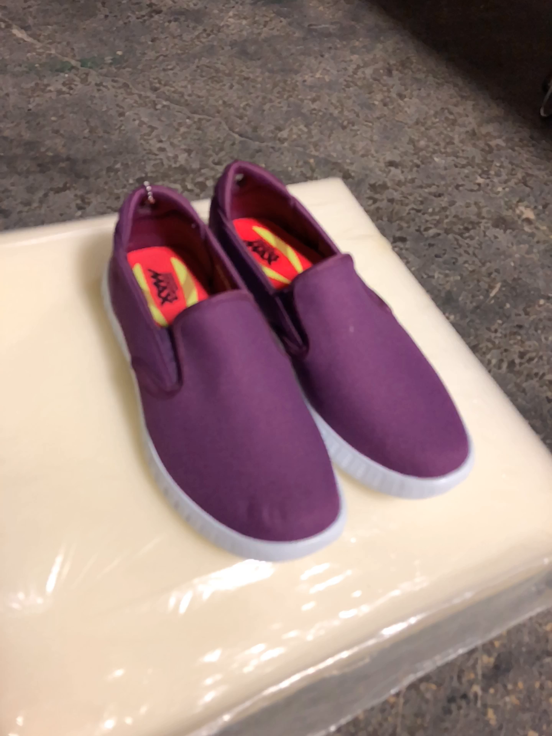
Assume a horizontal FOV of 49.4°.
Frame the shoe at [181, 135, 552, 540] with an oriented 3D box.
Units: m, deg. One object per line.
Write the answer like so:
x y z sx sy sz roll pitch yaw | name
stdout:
0.040 -0.033 0.381 0.100 0.089 0.241 -23 60 -25 | shoe

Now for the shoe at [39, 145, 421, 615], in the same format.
-0.045 -0.012 0.355 0.100 0.089 0.261 -19 58 -22 | shoe
